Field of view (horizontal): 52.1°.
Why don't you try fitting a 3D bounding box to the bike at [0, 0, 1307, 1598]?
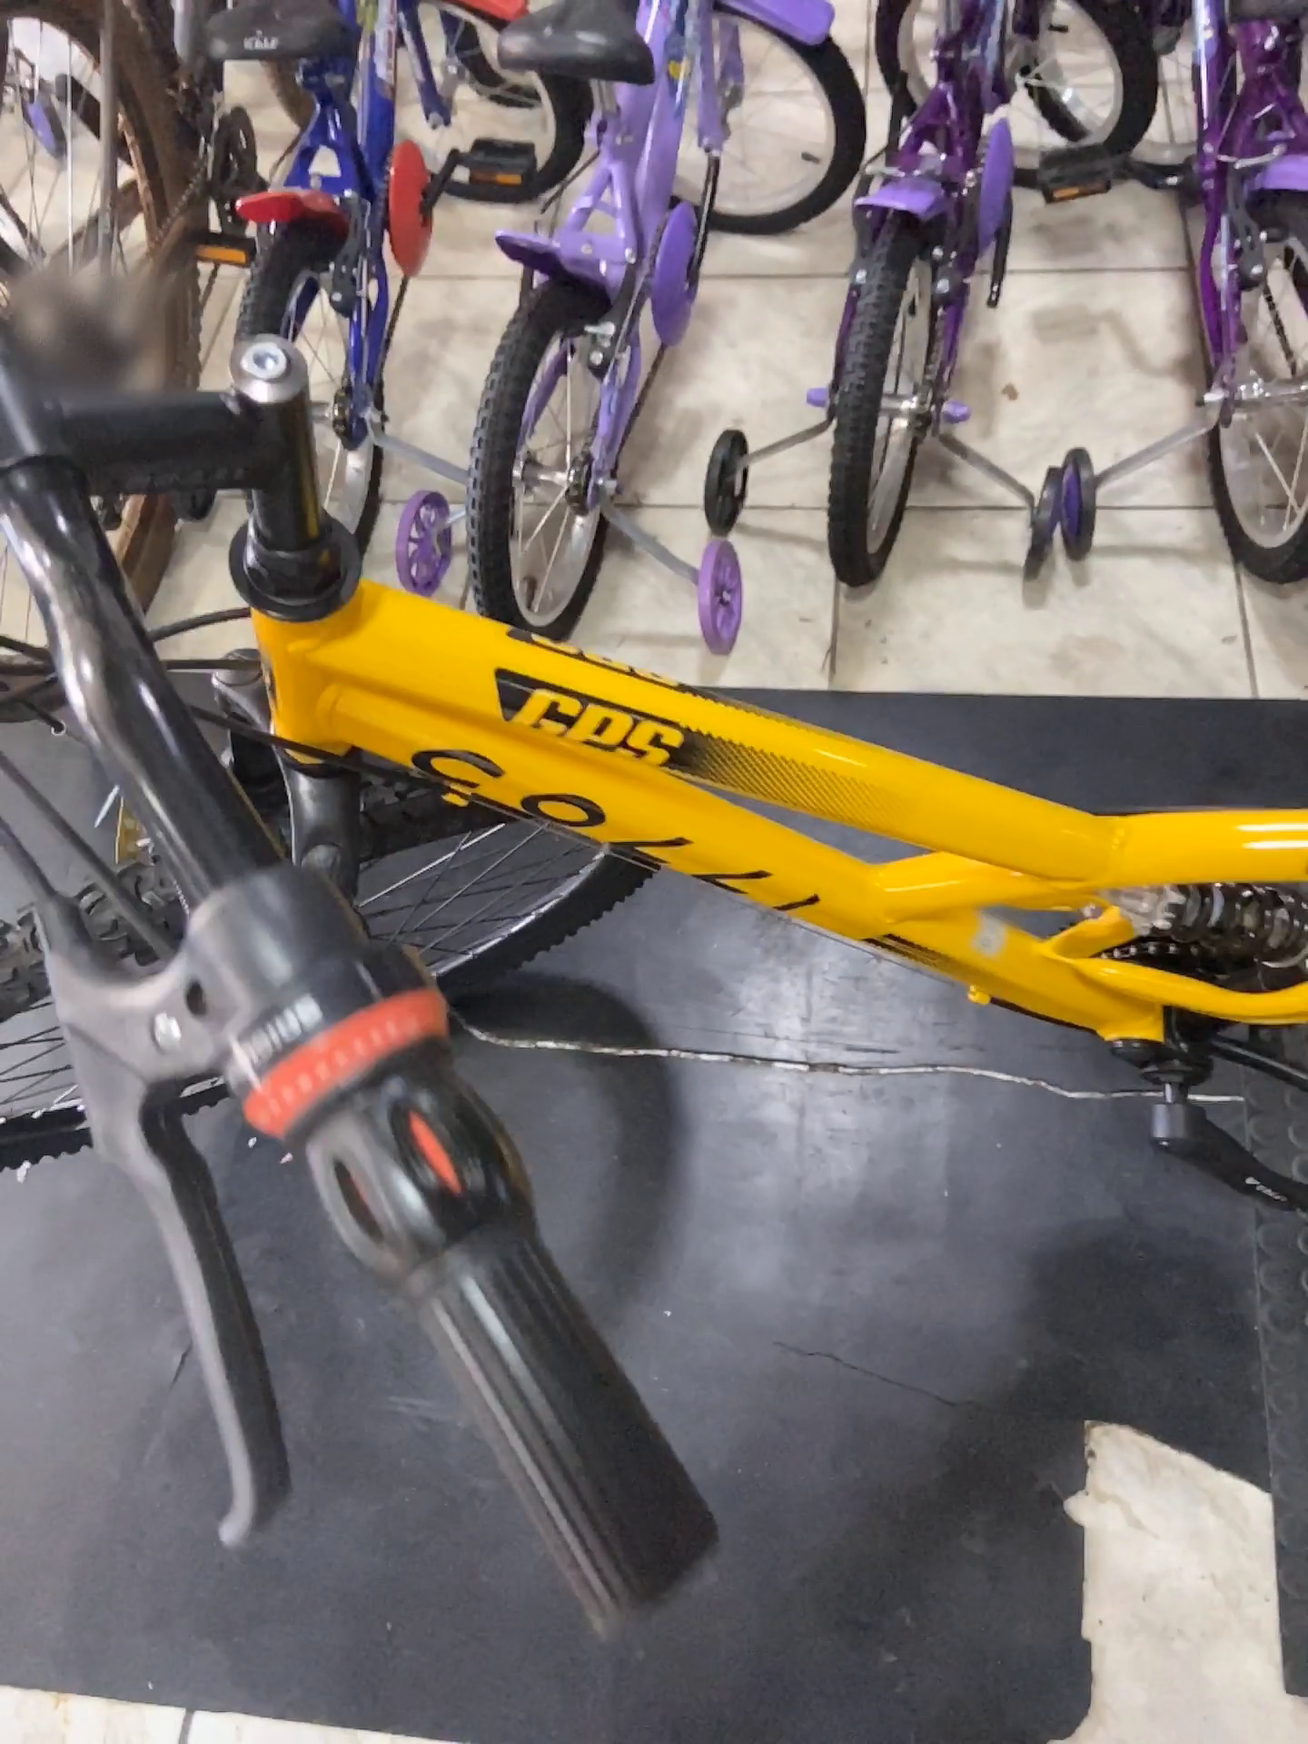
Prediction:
[{"bbox_3d":[0.230,0.014,0.606,1.520,0.989,0.477,-1,58,3],"label":"bike"}]
